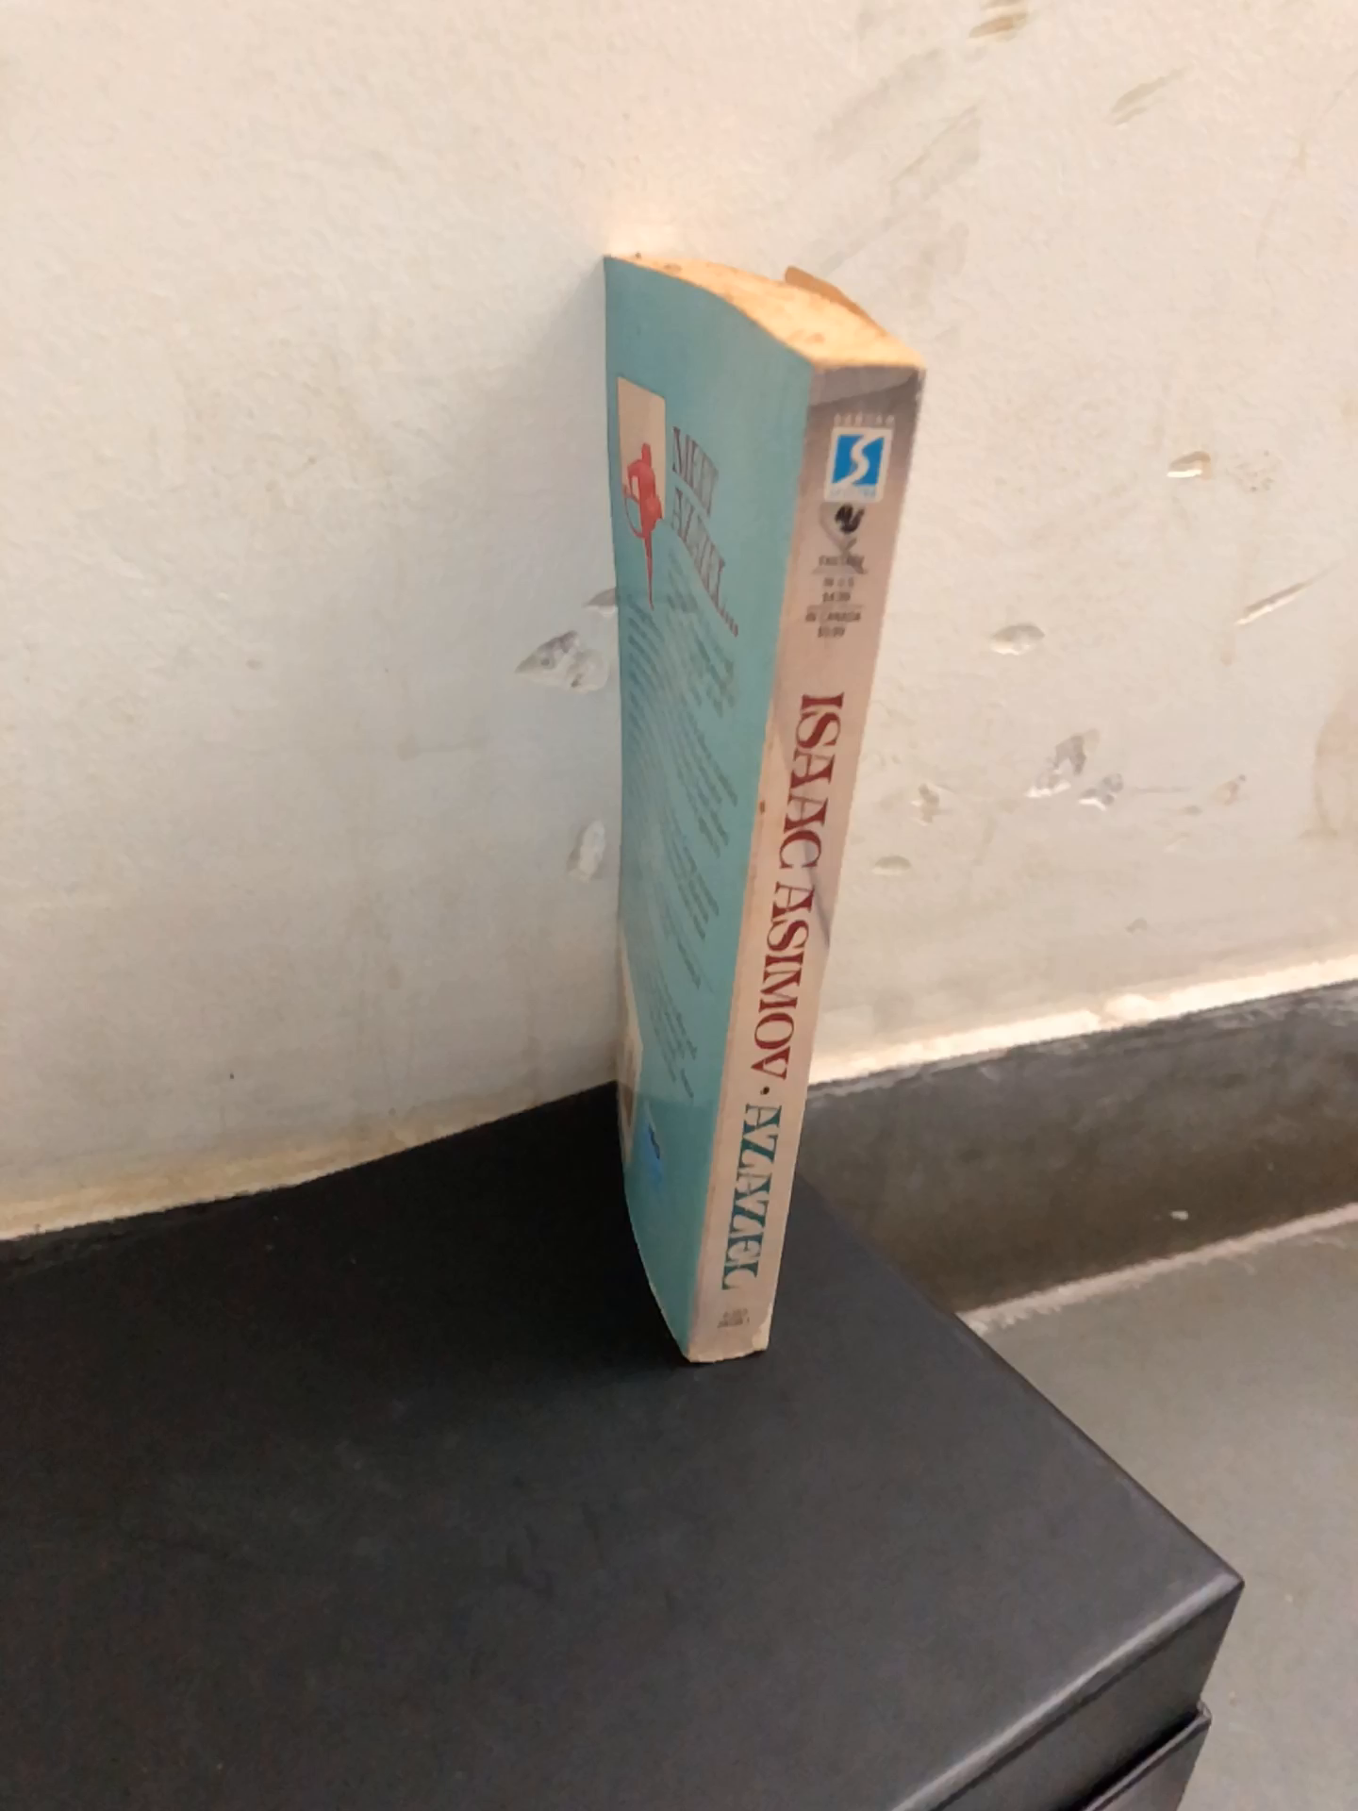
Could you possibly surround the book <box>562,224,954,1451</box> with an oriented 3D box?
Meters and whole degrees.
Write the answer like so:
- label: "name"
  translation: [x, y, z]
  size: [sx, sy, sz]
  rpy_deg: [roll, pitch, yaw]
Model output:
- label: "book"
  translation: [0.003, -0.022, 0.295]
  size: [0.030, 0.189, 0.151]
  rpy_deg: [-4, 30, -10]
